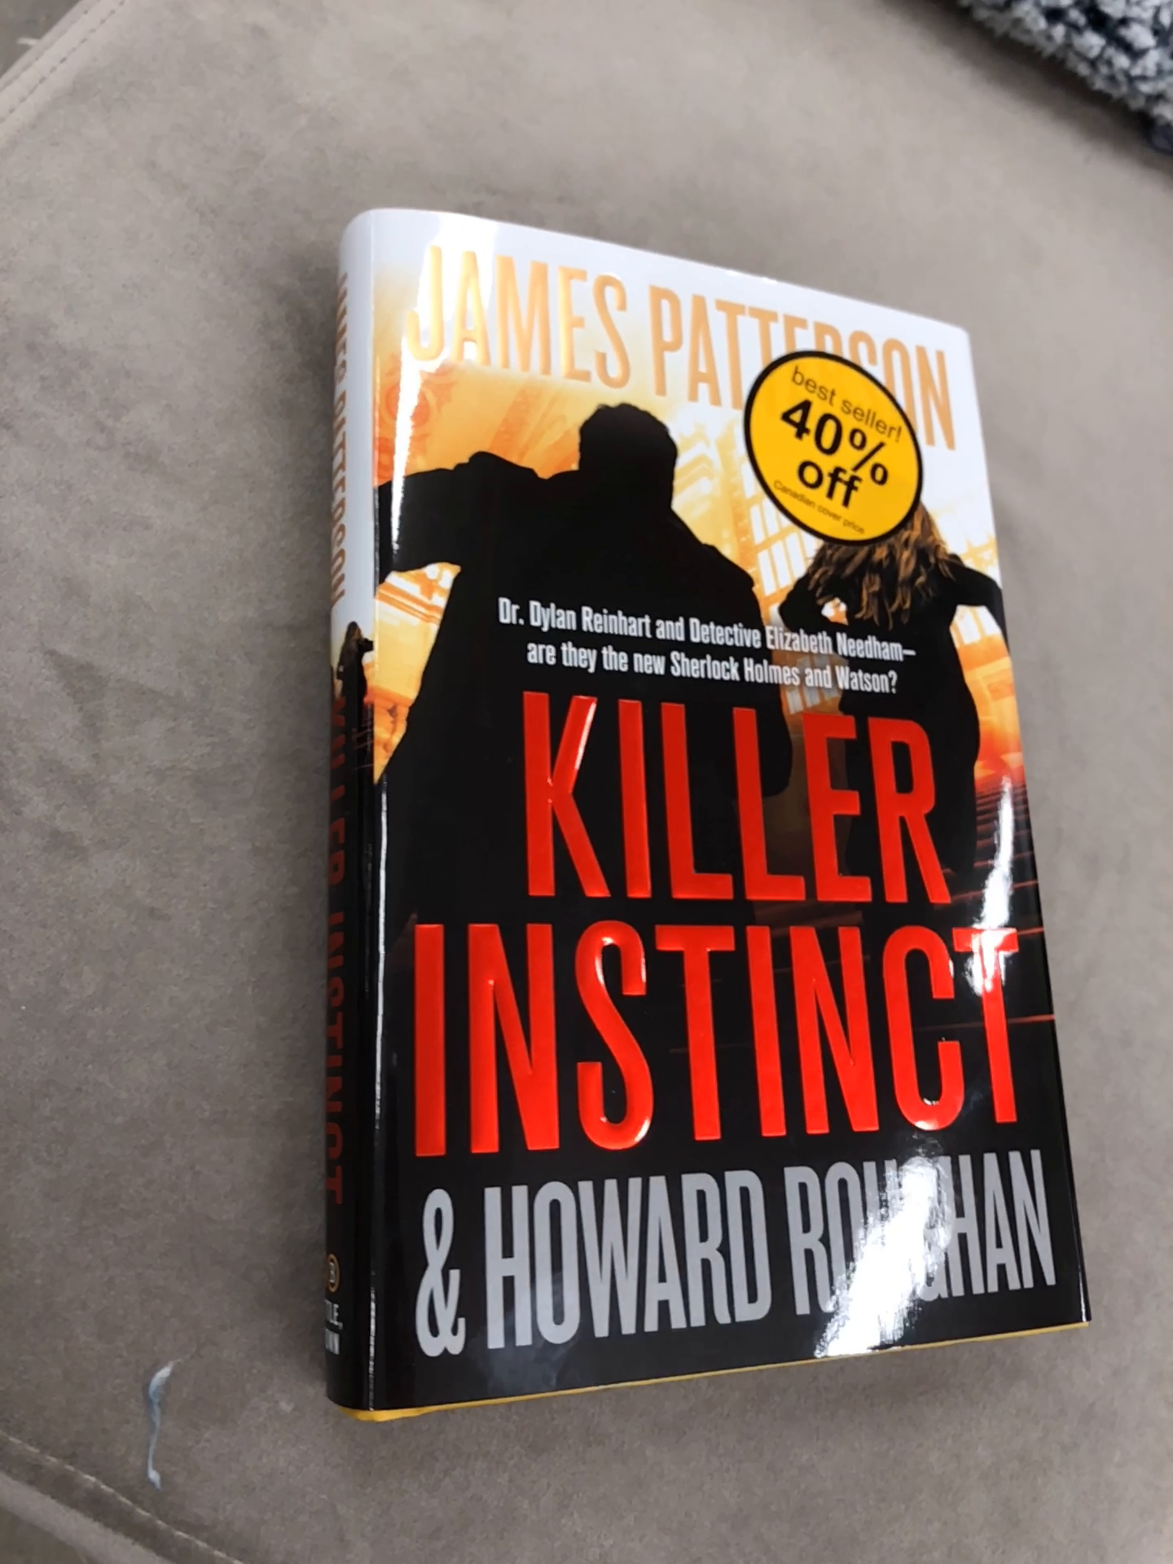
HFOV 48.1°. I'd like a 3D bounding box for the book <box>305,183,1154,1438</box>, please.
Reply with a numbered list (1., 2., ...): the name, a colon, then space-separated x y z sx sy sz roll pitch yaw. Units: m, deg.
1. book: 0.030 0.001 0.291 0.172 0.038 0.237 4 75 -22
